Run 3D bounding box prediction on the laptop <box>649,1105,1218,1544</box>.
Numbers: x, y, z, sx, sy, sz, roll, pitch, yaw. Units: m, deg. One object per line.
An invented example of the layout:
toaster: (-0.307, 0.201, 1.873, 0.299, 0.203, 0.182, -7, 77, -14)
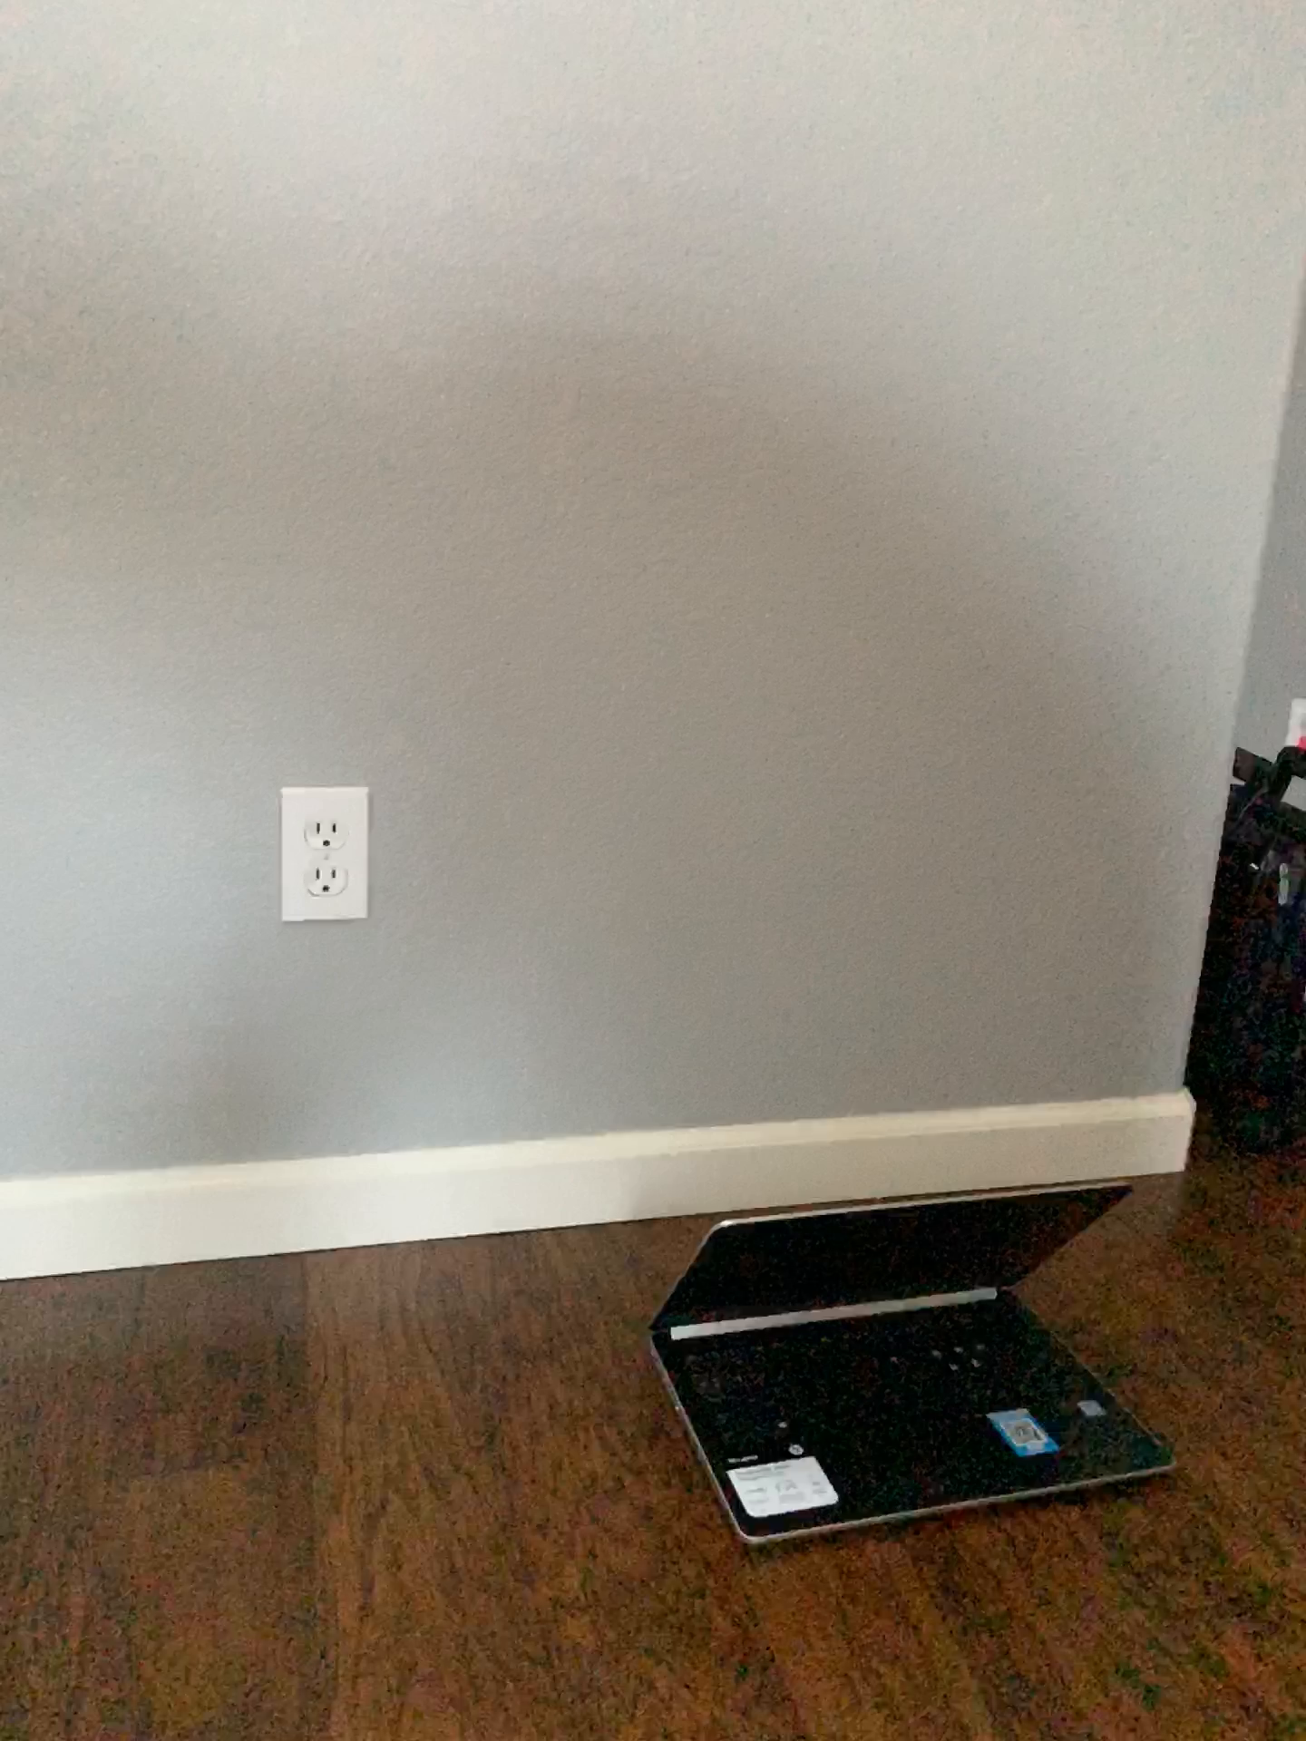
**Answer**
laptop: (0.187, 0.307, 0.964, 0.317, 0.169, 0.220, -1, 15, -18)
